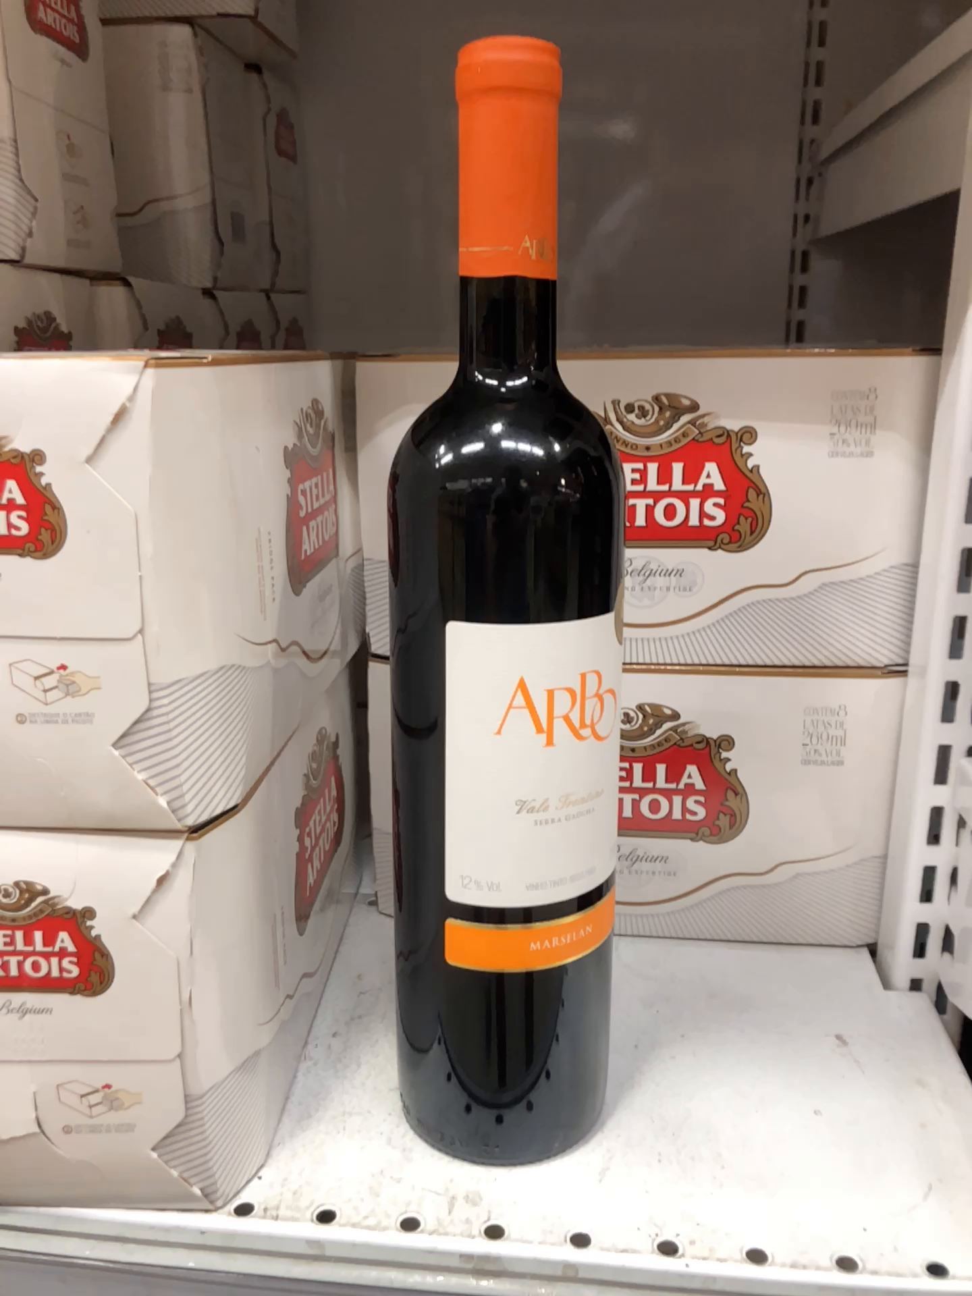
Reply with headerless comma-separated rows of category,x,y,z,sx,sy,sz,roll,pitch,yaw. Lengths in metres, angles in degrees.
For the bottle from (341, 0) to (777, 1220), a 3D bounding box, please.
bottle,0.016,-0.004,0.305,0.080,0.308,0.070,-10,19,-30
